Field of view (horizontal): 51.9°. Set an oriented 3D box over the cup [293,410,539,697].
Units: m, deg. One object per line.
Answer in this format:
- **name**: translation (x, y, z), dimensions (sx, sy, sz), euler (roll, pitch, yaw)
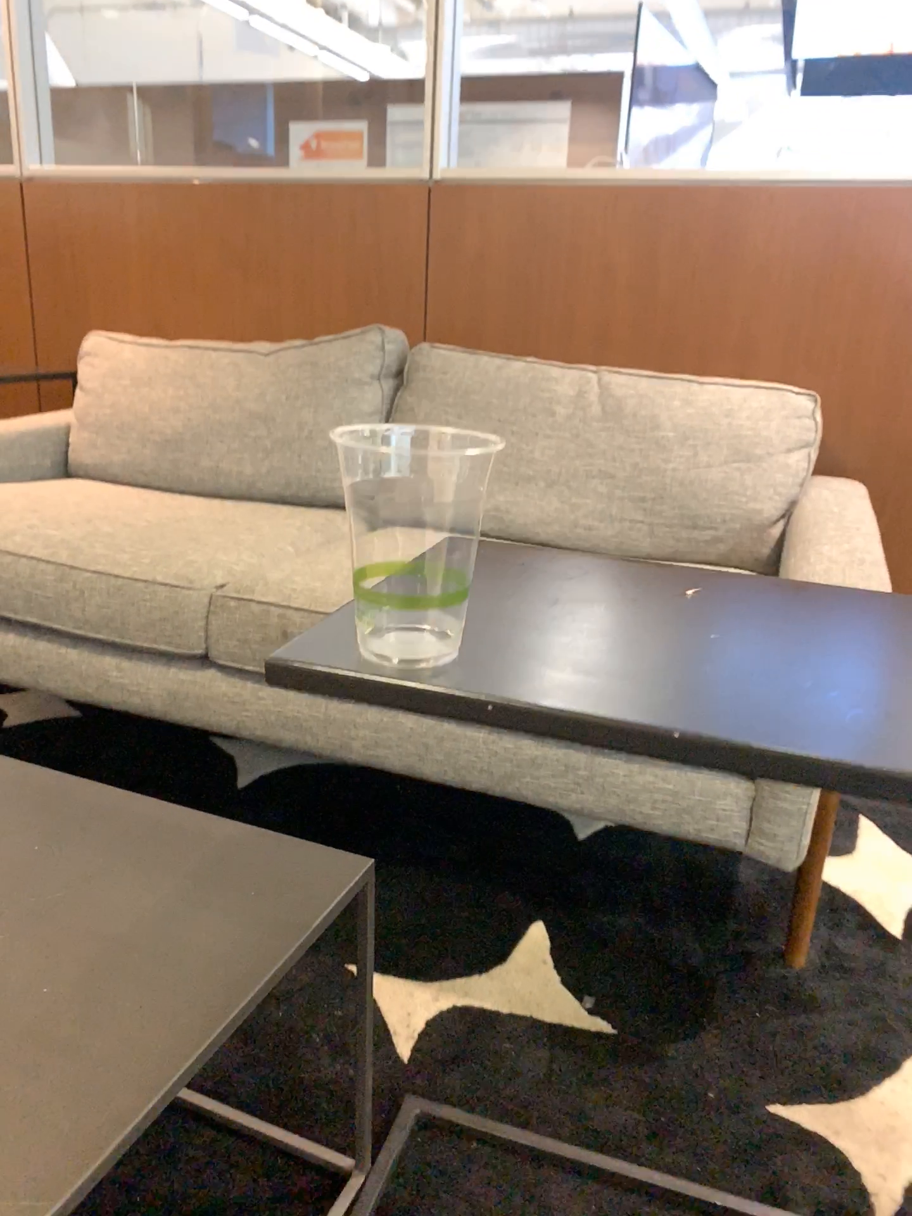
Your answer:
- **cup**: translation (-0.022, -0.037, 0.528), dimensions (0.100, 0.129, 0.100), euler (3, 18, -1)
